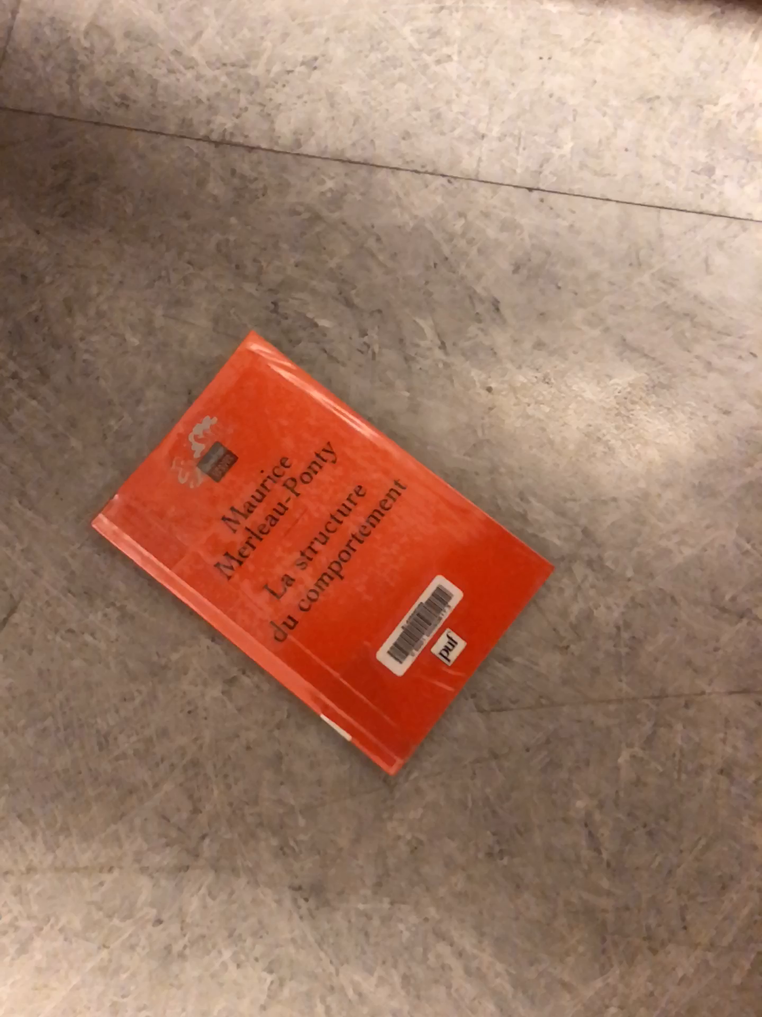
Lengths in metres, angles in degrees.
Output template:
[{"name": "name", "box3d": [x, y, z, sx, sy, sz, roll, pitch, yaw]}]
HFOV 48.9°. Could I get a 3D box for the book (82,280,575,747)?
[{"name": "book", "box3d": [-0.026, -0.001, 0.418, 0.200, 0.020, 0.135, 38, 82, 6]}]
